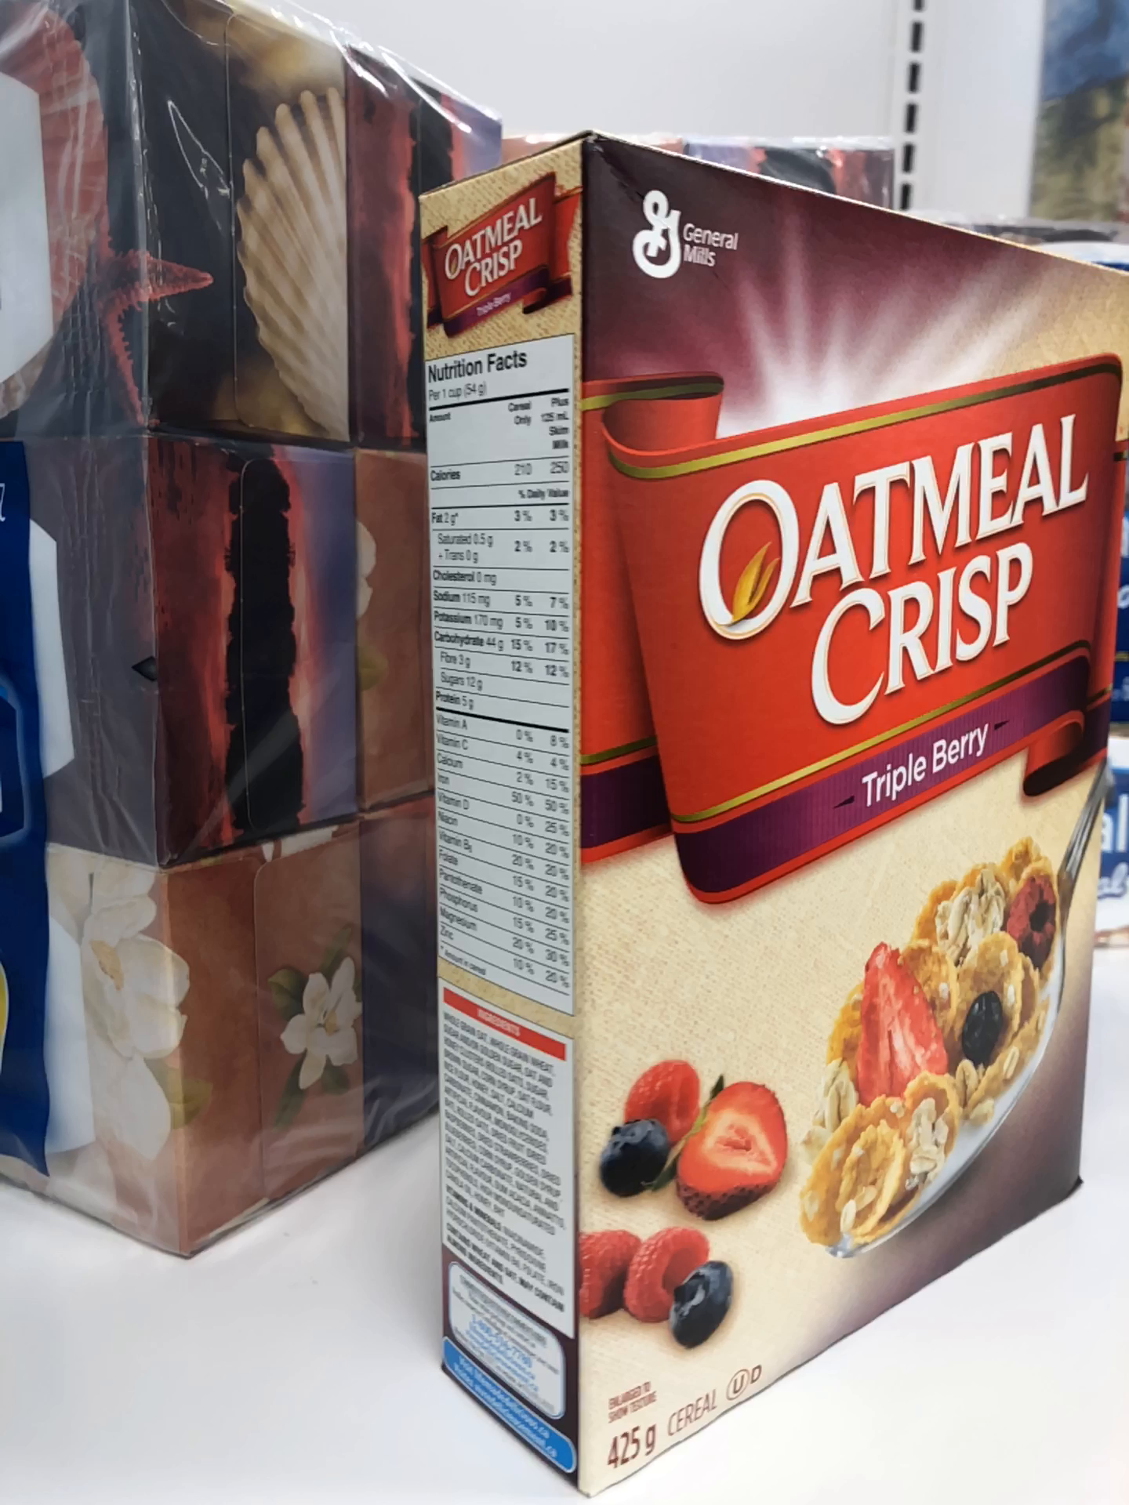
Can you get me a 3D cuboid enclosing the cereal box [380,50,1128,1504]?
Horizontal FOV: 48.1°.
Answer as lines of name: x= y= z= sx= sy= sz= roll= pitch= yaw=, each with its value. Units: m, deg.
cereal box: x=0.060 y=0.005 z=0.310 sx=0.200 sy=0.270 sz=0.060 roll=-7 pitch=11 yaw=-38
